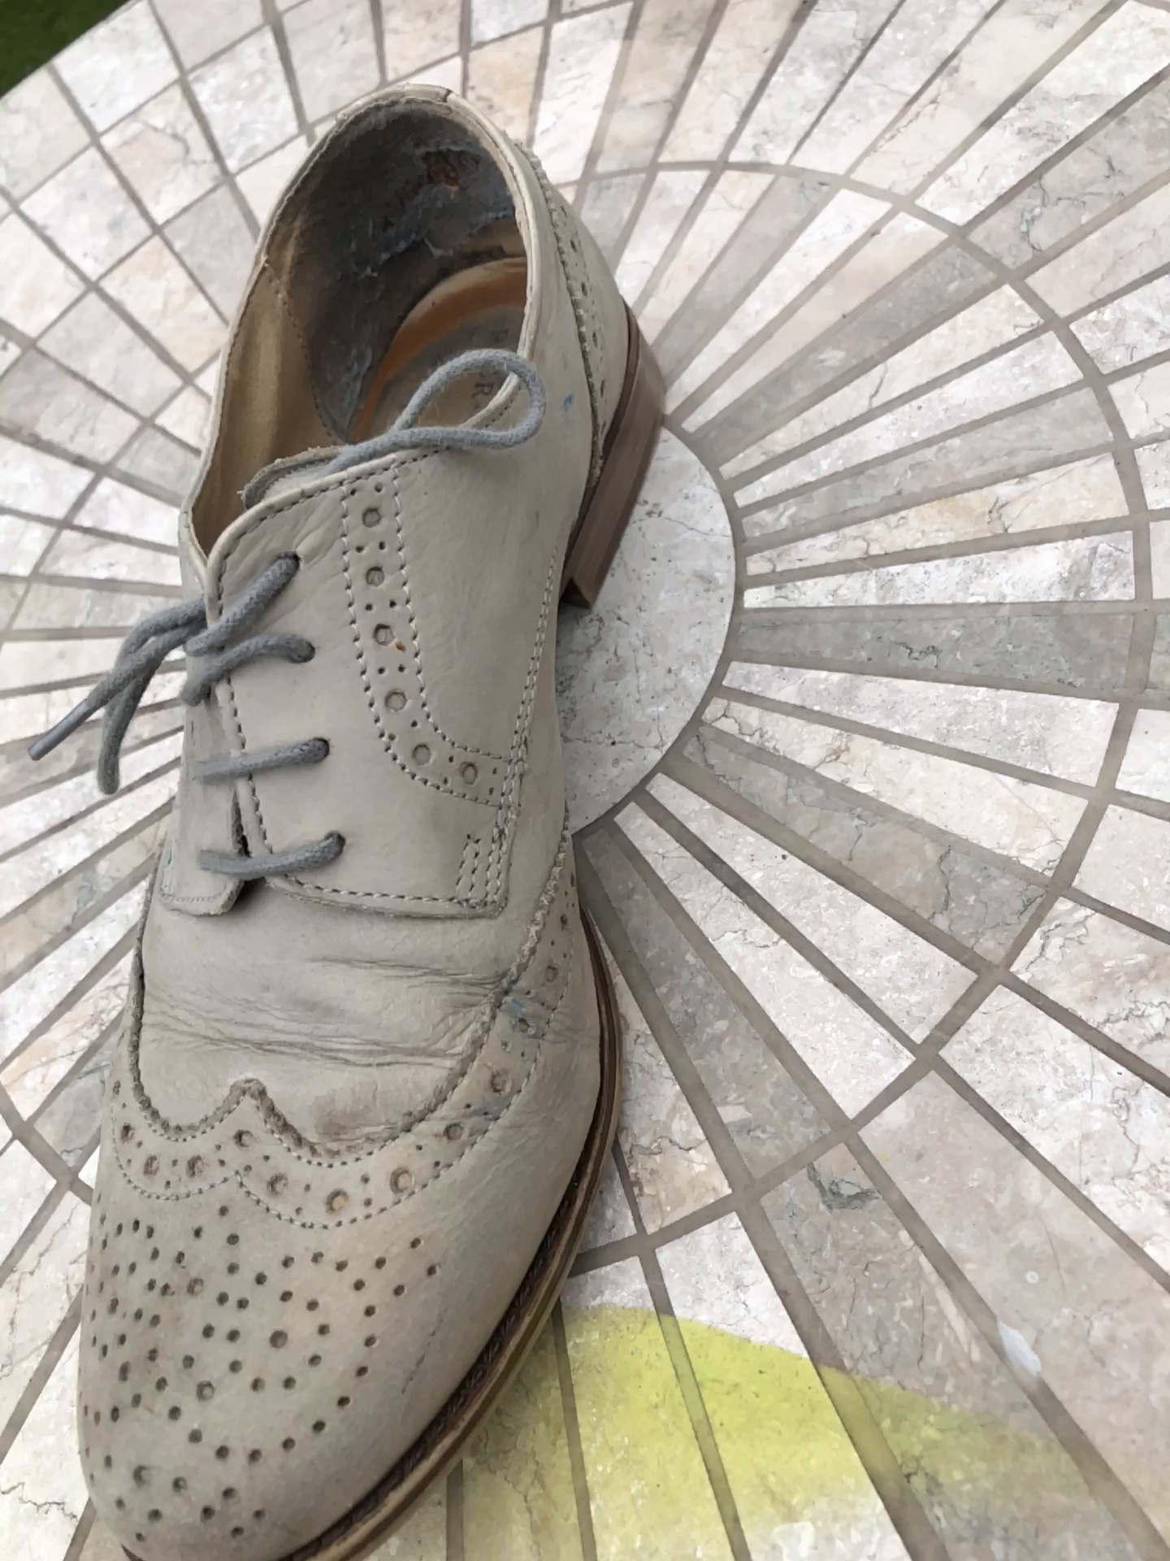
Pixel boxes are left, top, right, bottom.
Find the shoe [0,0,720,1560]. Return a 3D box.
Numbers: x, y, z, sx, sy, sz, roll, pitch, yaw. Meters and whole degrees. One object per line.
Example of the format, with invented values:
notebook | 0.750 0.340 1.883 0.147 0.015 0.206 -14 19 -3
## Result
shoe | -0.043 -0.006 0.227 0.090 0.078 0.257 -2 64 23
